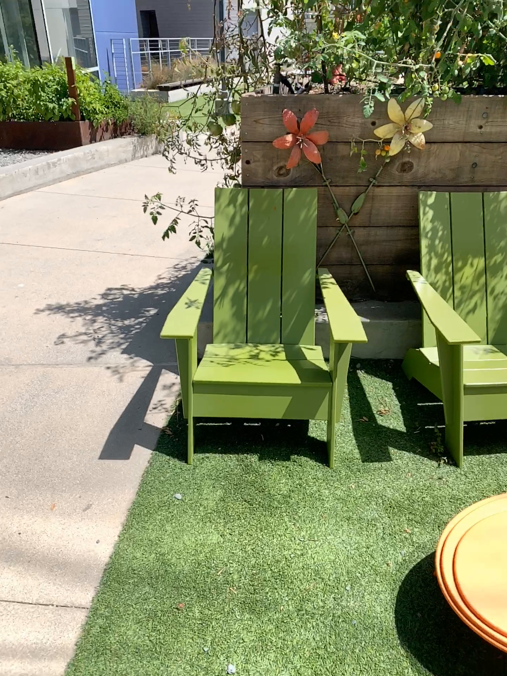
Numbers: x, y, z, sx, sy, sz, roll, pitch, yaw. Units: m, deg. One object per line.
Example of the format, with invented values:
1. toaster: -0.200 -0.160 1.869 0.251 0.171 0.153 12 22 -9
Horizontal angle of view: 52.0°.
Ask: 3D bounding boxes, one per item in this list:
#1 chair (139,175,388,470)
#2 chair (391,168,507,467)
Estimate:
1. chair: 0.035 -0.132 1.996 0.680 0.836 0.905 1 24 1
2. chair: 1.016 -0.145 2.147 0.680 0.987 0.893 -2 15 4
